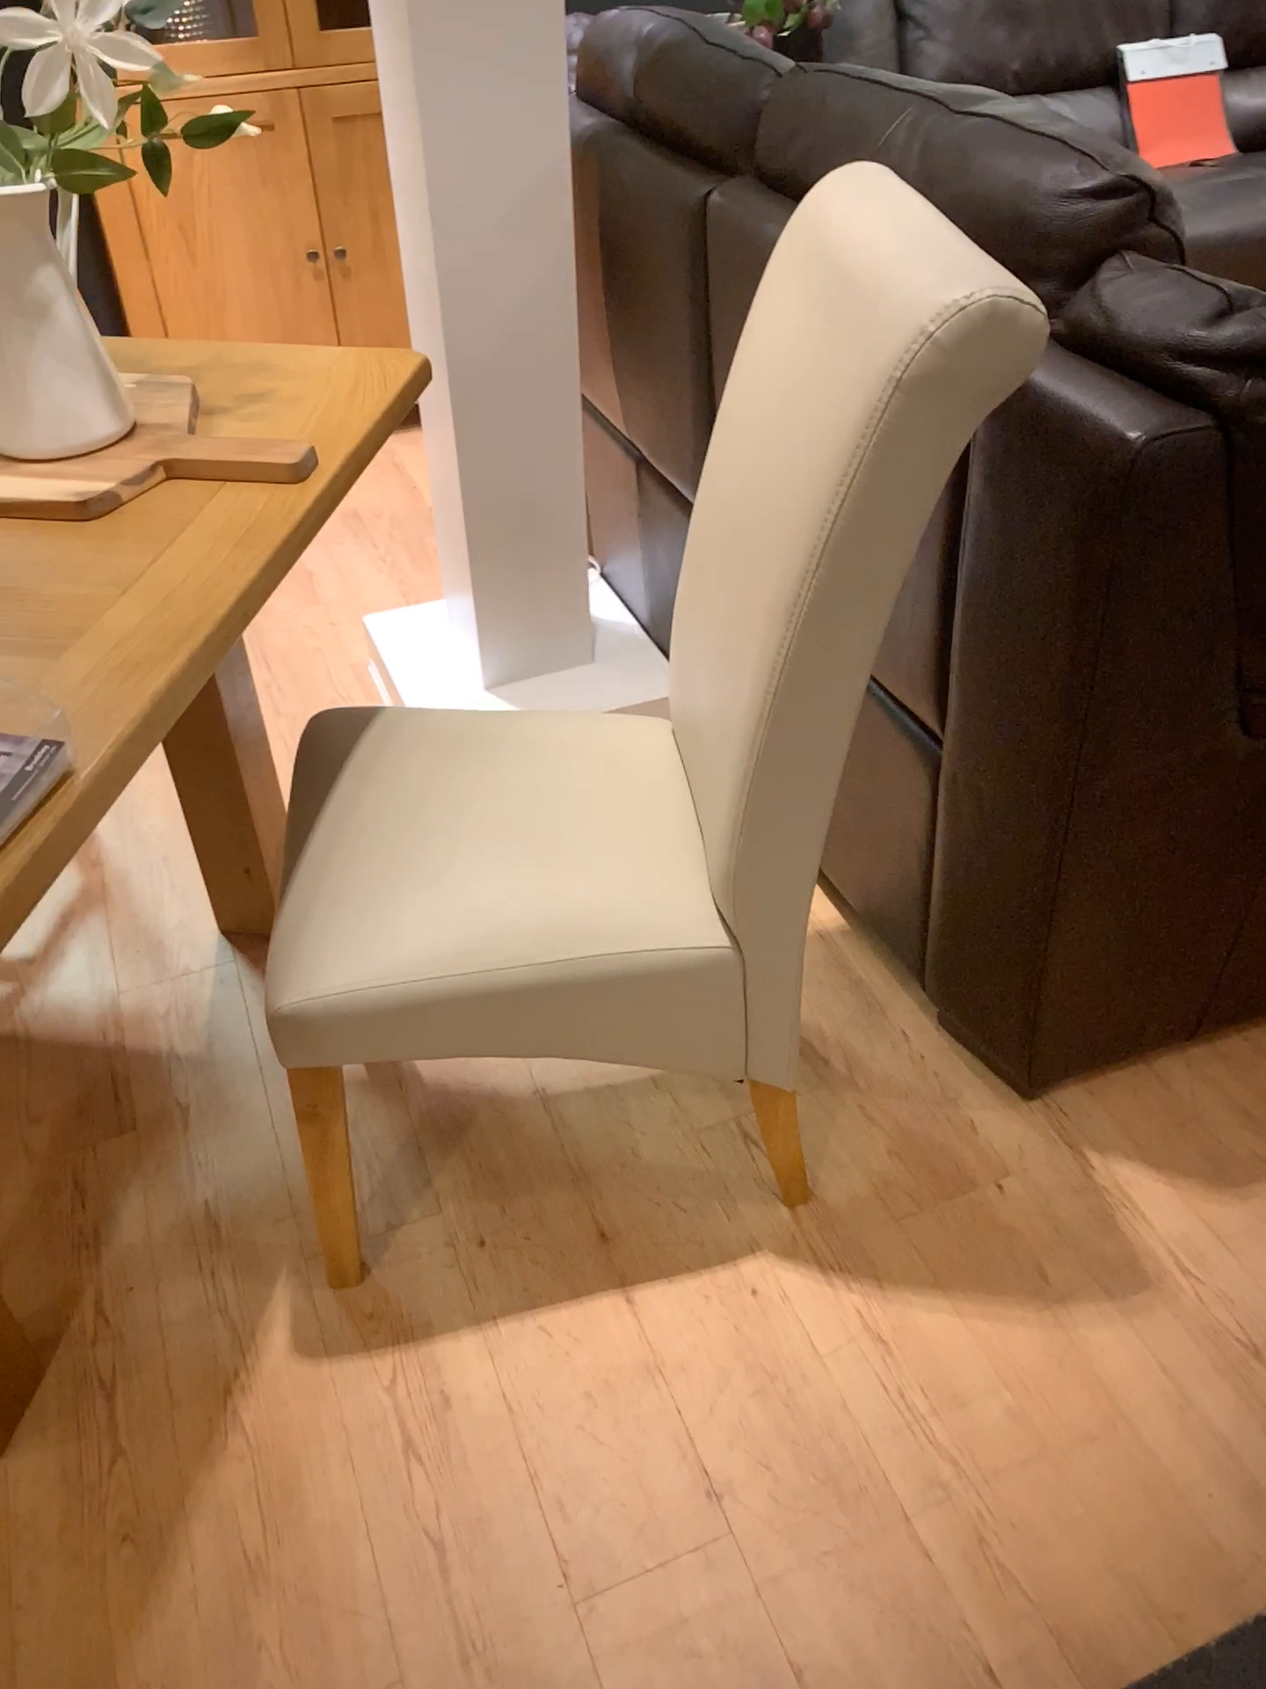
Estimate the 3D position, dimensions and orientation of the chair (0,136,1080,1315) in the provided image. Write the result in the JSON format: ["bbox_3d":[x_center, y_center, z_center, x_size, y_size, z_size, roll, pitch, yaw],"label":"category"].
[{"bbox_3d":[-0.070,-0.070,1.207,0.634,0.943,0.480,-5,39,-4],"label":"chair"}]
